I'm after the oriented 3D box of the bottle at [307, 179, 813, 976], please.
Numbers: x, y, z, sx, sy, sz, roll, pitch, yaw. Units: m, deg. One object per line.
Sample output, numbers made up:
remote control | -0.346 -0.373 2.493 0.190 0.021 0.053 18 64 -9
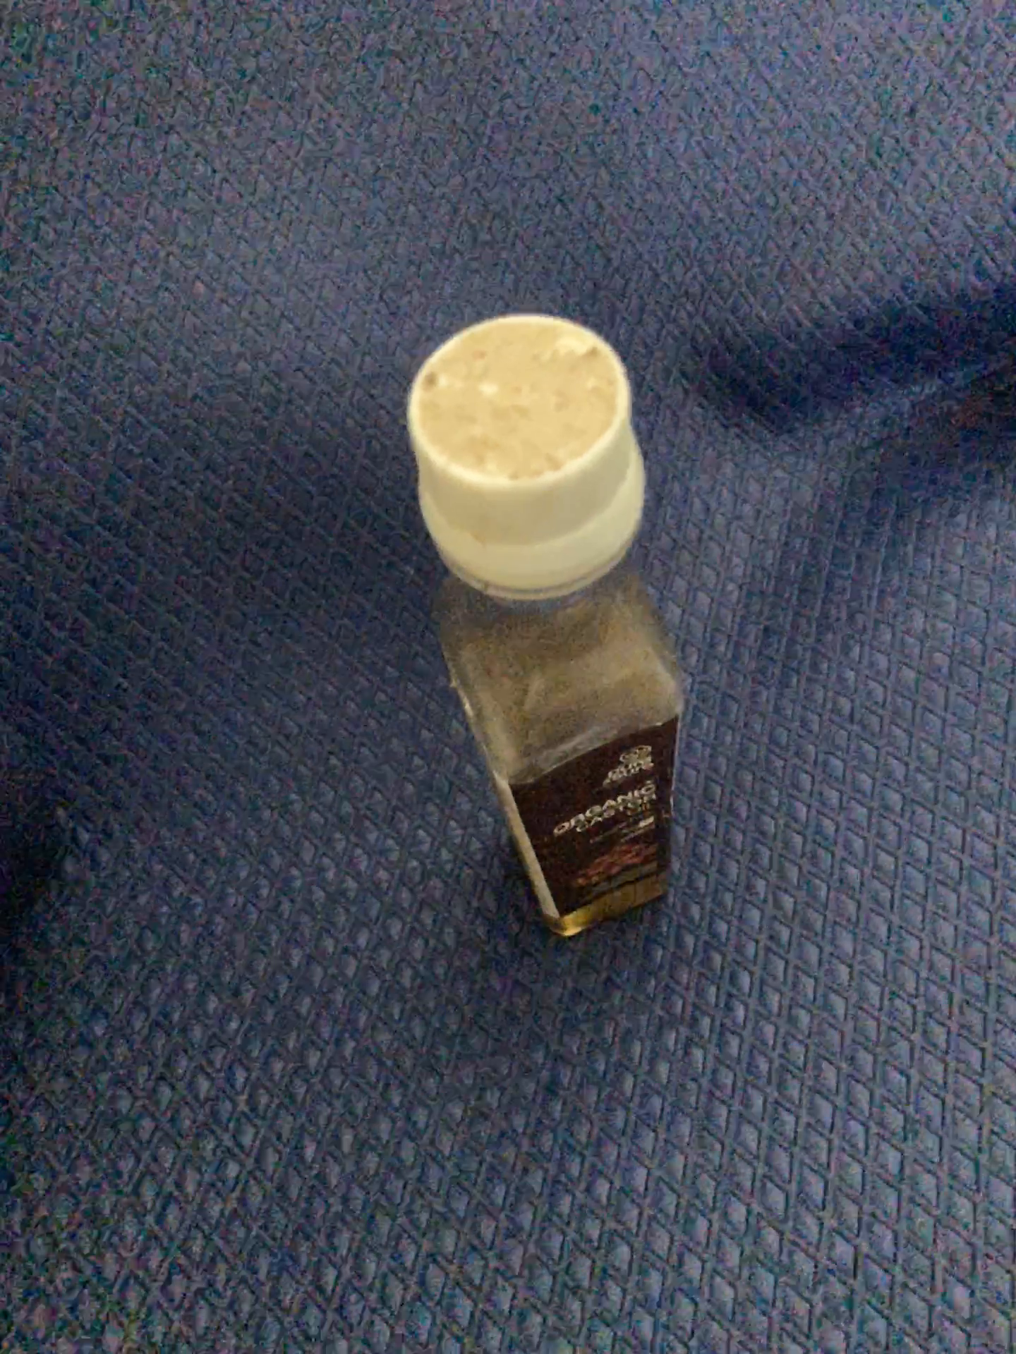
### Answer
bottle | 0.017 0.006 0.223 0.050 0.199 0.050 -4 60 7
